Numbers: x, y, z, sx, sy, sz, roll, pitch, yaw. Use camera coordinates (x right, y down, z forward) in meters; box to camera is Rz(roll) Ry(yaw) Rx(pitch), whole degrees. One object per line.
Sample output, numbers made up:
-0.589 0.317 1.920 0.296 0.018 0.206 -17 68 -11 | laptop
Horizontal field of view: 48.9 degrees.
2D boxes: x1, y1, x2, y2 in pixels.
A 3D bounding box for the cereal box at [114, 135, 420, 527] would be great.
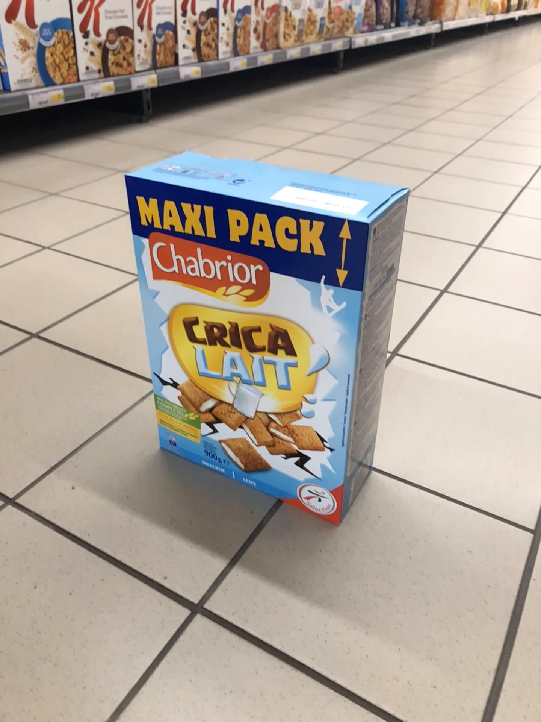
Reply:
-0.005 -0.027 0.493 0.200 0.268 0.091 18 36 27 | cereal box
